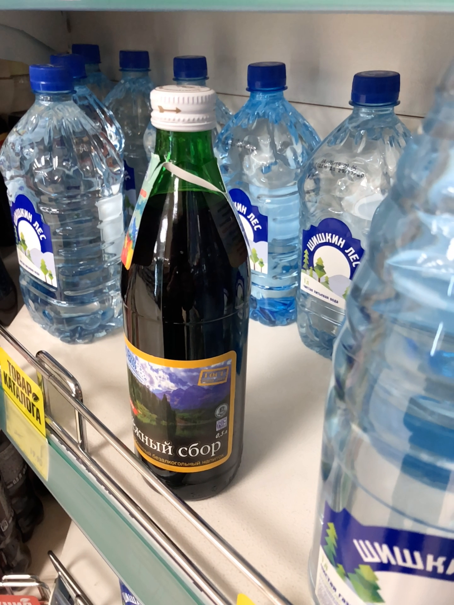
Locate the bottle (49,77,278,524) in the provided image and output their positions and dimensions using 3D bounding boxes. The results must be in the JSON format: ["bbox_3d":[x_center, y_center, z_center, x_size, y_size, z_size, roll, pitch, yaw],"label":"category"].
[{"bbox_3d":[-0.026,0.003,0.271,0.068,0.219,0.075,-25,37,-36],"label":"bottle"}]
